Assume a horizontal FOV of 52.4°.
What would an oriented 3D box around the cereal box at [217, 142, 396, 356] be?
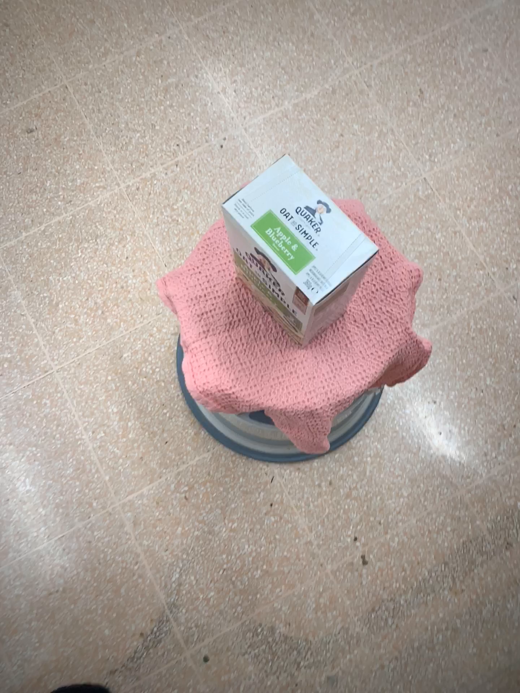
[{"bbox_3d":[0.043,-0.089,0.578,0.090,0.210,0.140,-40,80,-7],"label":"cereal box"}]
